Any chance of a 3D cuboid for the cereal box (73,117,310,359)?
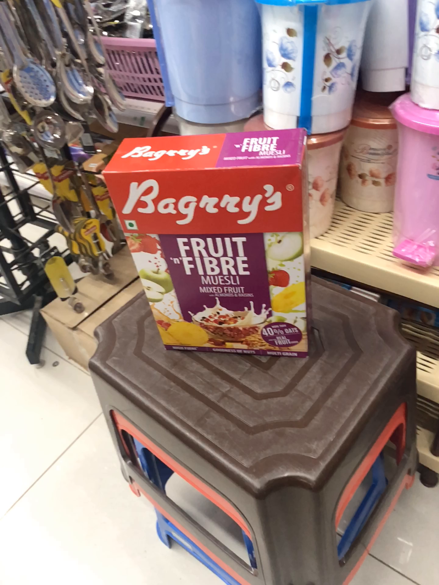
[{"bbox_3d":[-0.009,-0.044,0.527,0.200,0.259,0.070,2,44,15],"label":"cereal box"}]
